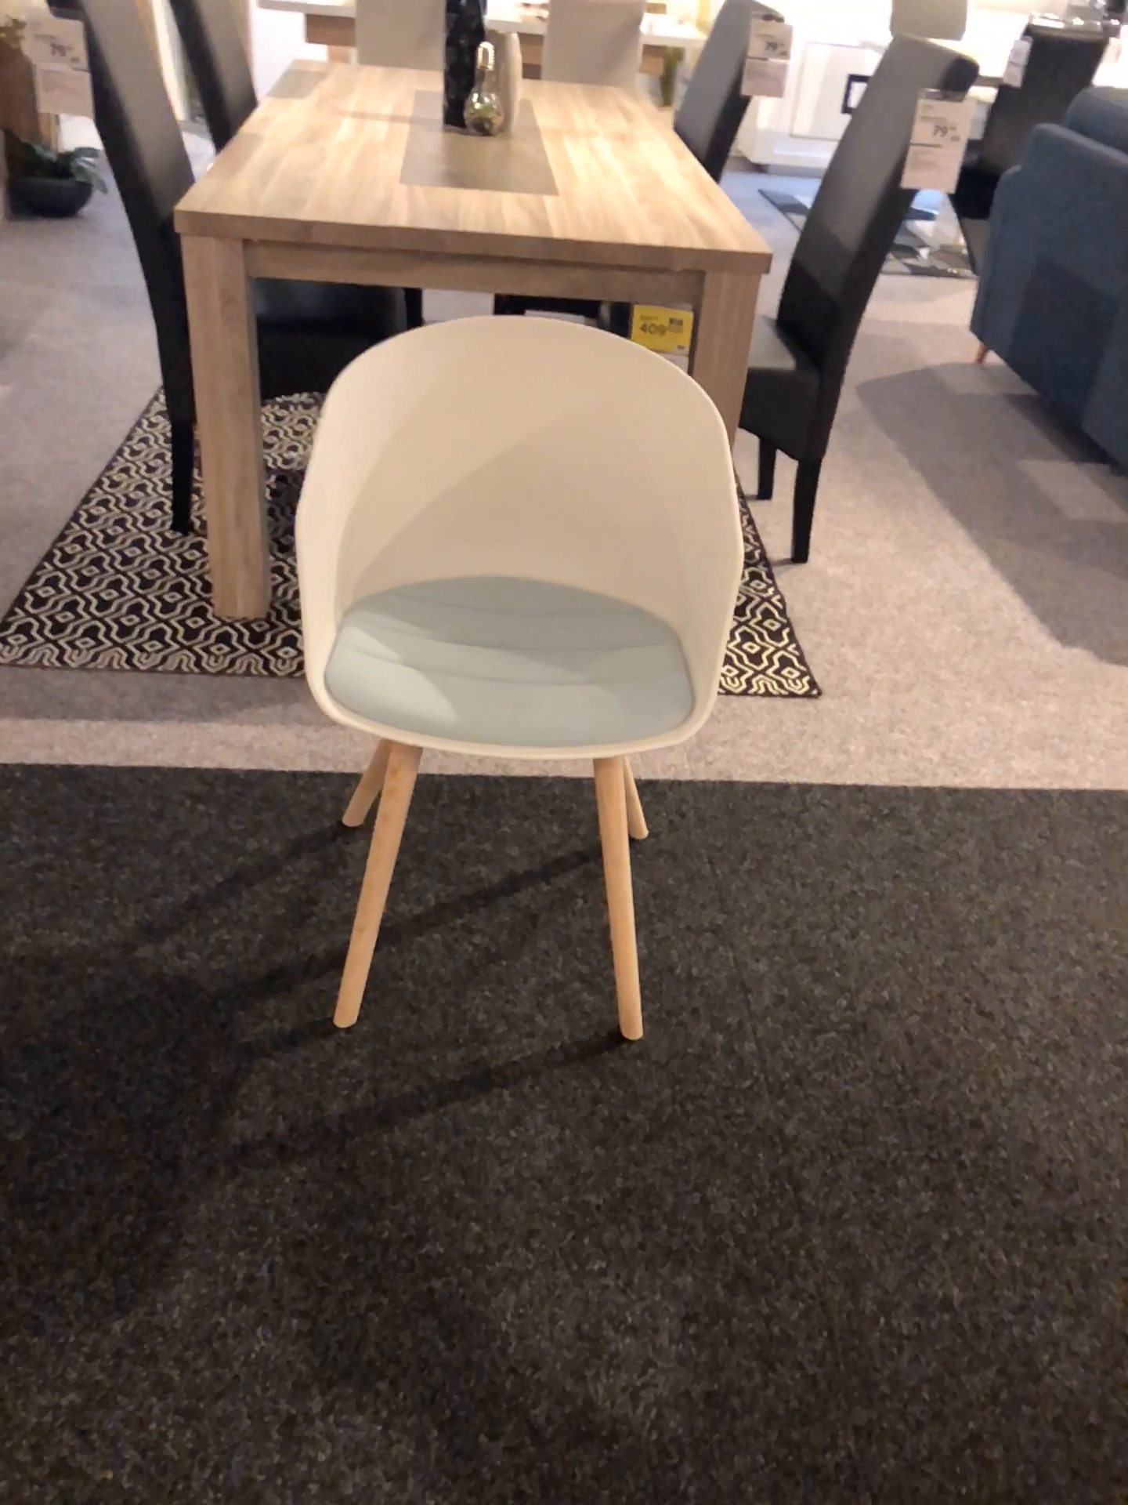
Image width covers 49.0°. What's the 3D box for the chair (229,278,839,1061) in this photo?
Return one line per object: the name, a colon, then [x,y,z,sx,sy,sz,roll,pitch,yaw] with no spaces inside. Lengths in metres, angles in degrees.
chair: [-0.053,-0.108,1.571,0.550,0.765,0.583,3,35,-3]
